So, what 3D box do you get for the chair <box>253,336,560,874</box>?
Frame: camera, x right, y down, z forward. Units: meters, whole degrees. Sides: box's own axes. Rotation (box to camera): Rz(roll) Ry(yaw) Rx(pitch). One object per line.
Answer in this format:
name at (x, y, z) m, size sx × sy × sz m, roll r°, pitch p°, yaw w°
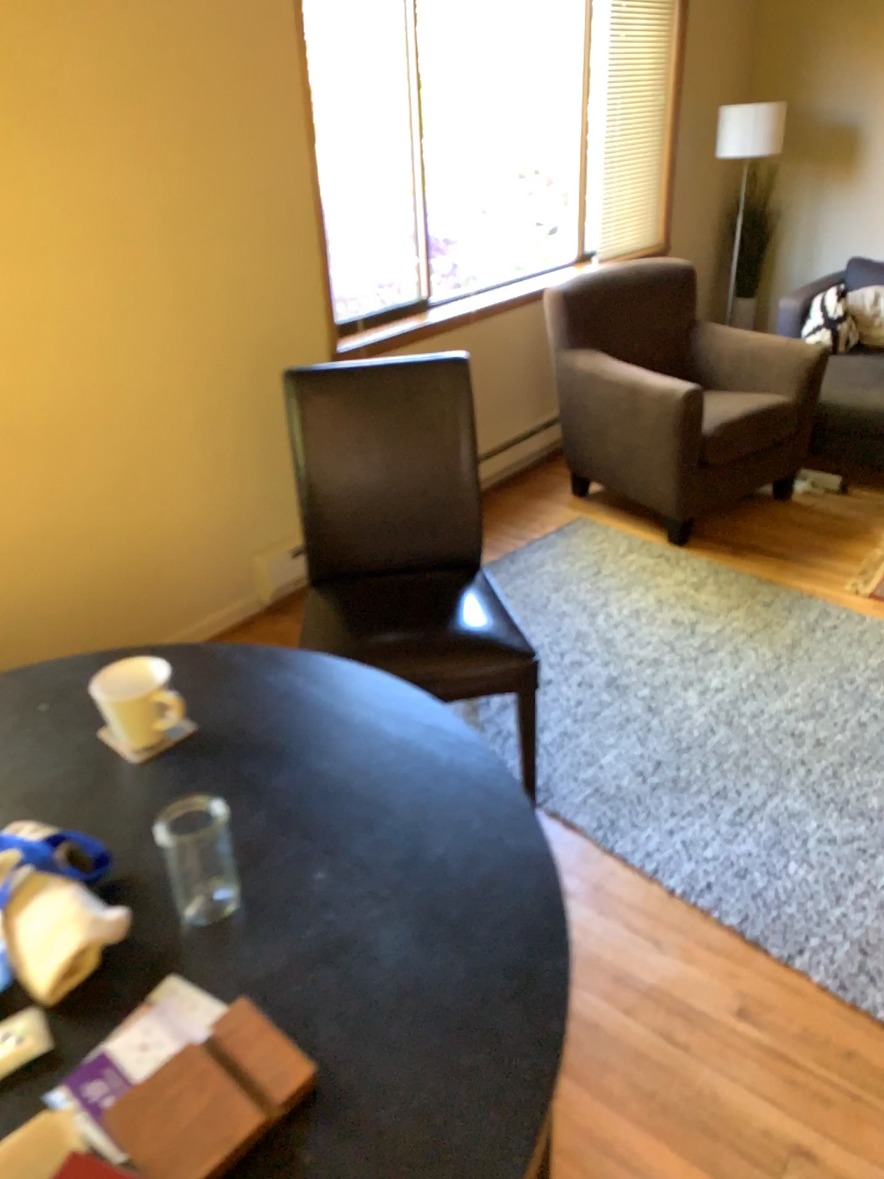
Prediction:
chair at (-0.099, 0.011, 2.140) m, size 0.560 × 1.034 × 0.674 m, roll -7°, pitch 29°, yaw -8°
